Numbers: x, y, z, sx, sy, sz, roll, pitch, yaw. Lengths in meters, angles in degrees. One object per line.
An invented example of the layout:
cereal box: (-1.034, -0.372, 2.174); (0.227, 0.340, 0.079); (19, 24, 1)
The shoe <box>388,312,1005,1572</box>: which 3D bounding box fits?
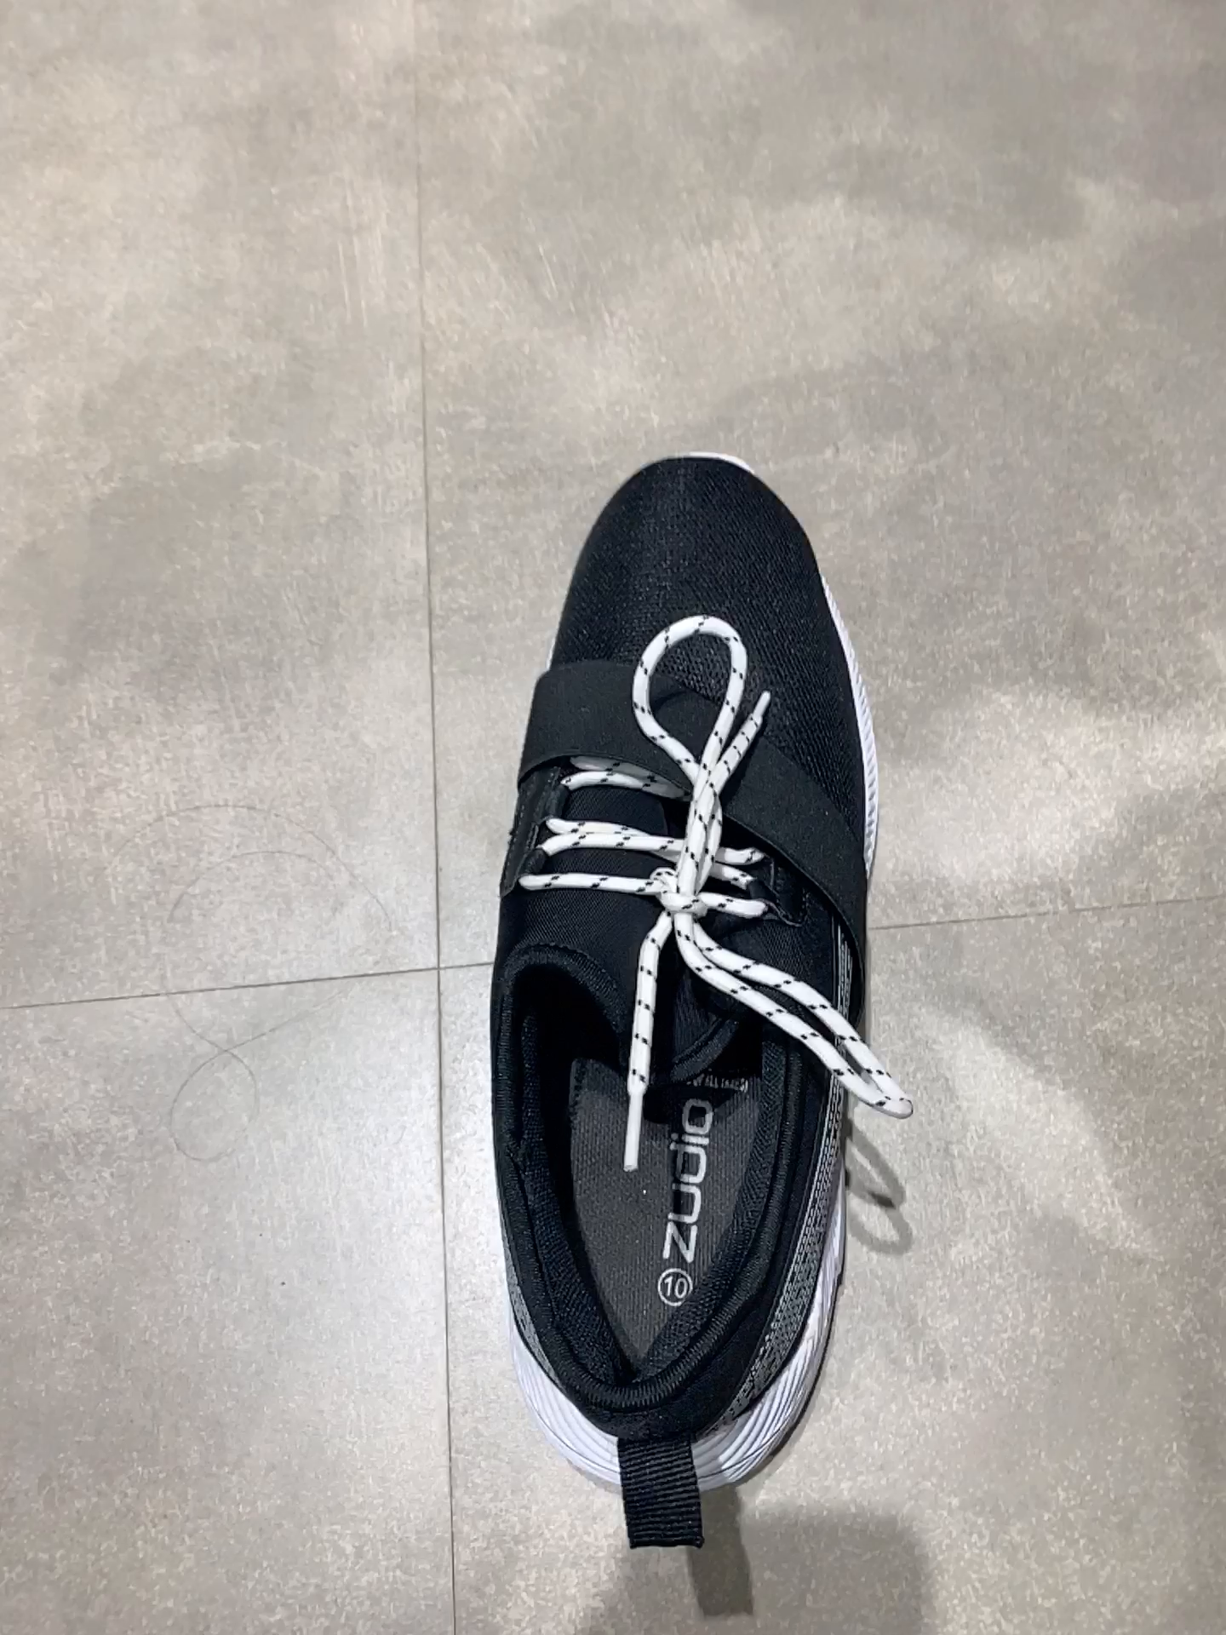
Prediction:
shoe: (0.030, 0.023, 0.358); (0.116, 0.132, 0.304); (3, 67, 4)
